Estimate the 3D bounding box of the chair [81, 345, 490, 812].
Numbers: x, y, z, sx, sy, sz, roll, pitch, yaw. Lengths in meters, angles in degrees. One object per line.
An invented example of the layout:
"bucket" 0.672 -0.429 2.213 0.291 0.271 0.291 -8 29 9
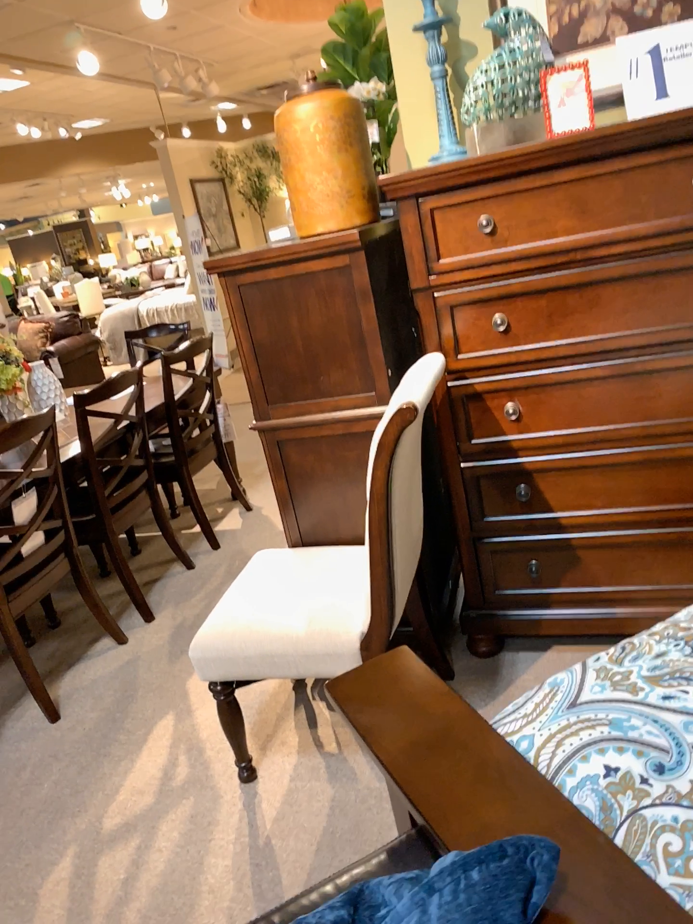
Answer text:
"chair" -0.069 0.278 1.827 0.718 0.950 0.586 -5 20 18
